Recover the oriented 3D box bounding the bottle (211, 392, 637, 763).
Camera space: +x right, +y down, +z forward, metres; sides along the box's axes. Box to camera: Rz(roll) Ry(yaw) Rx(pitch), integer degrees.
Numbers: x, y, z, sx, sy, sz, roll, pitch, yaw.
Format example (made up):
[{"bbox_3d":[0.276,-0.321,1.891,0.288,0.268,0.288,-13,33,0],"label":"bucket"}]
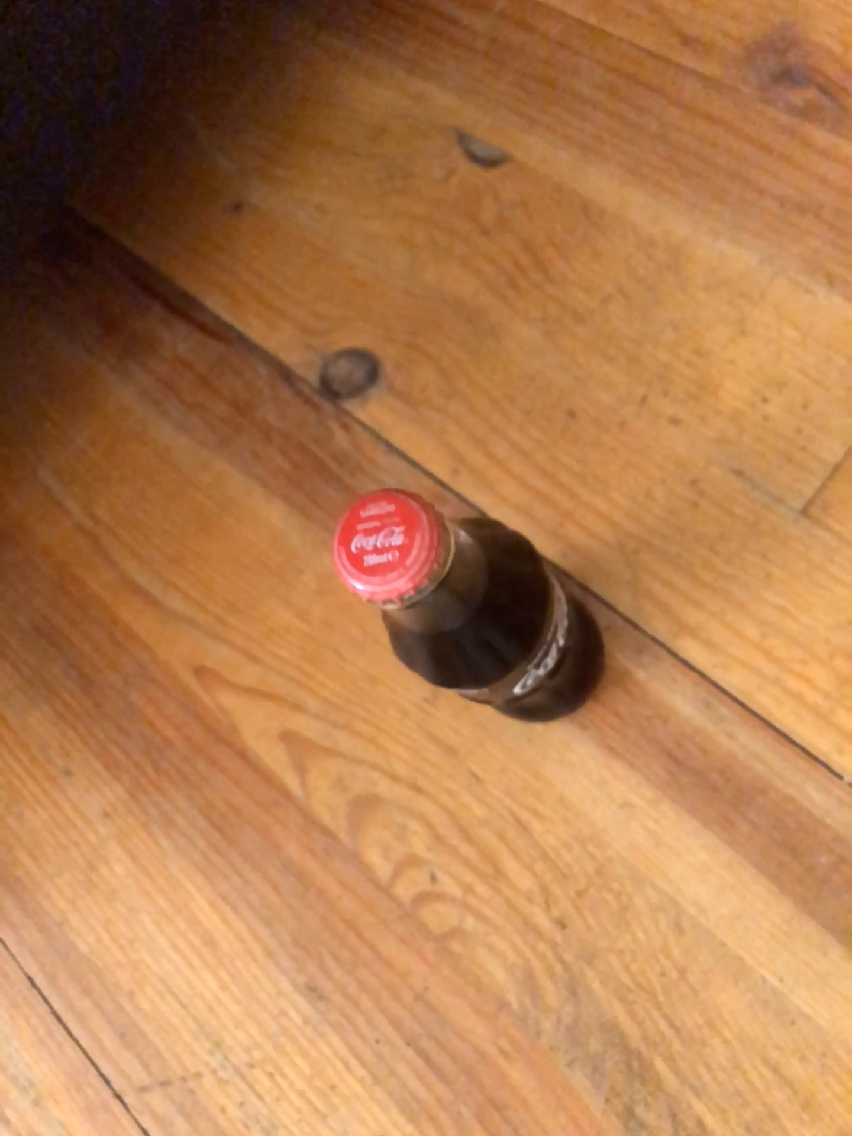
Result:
[{"bbox_3d":[0.015,0.015,0.296,0.060,0.170,0.060,-5,75,18],"label":"bottle"}]
